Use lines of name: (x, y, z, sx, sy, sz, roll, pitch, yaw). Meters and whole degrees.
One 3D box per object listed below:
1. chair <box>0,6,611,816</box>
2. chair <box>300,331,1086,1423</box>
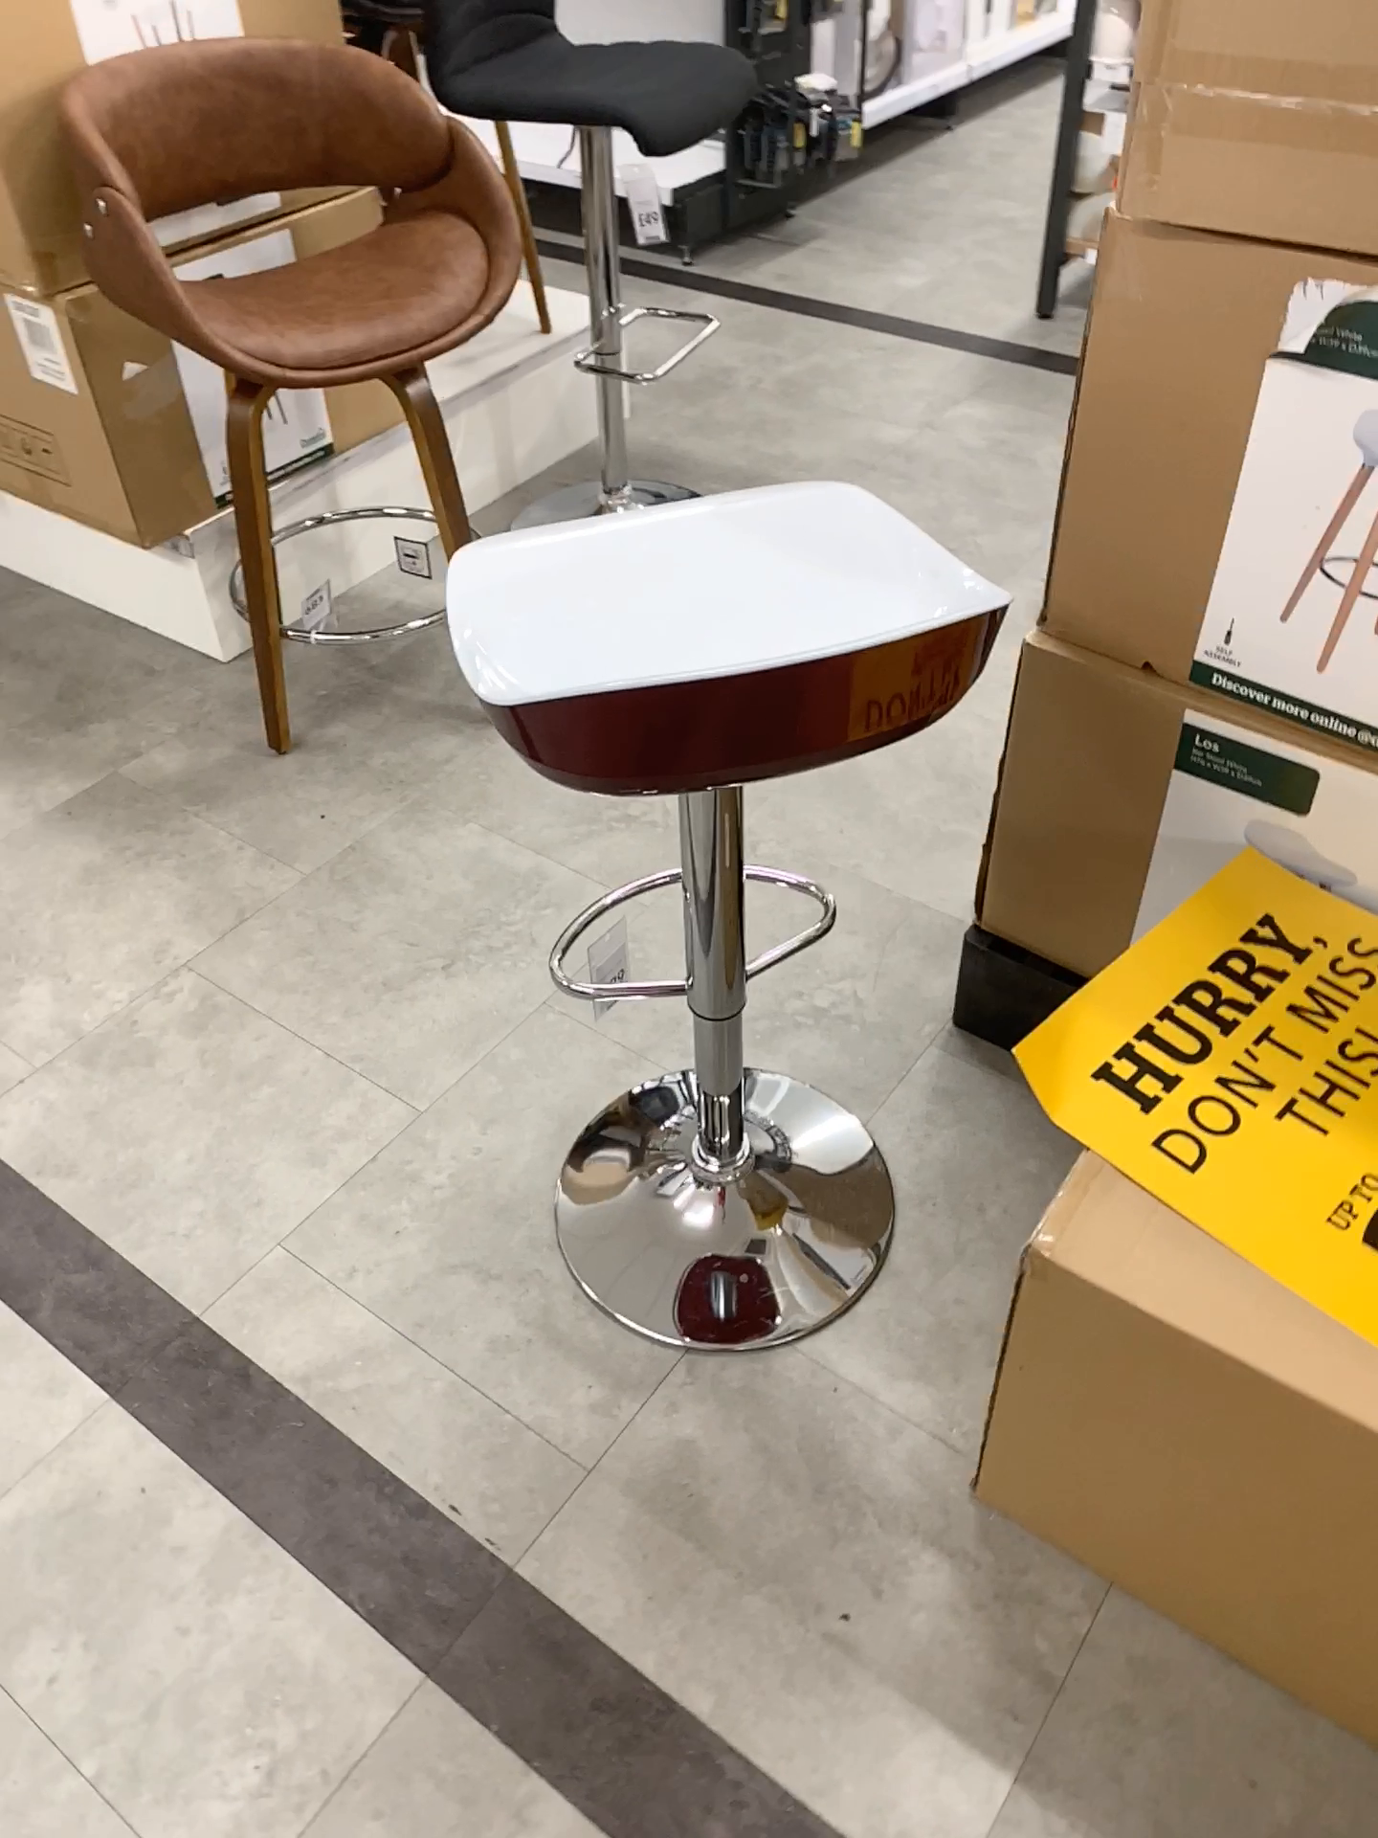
chair: (-0.561, -0.774, 2.158, 0.645, 0.926, 0.526, -25, 47, -23)
chair: (-0.017, -0.016, 1.272, 0.443, 0.797, 0.456, -14, 43, -12)
